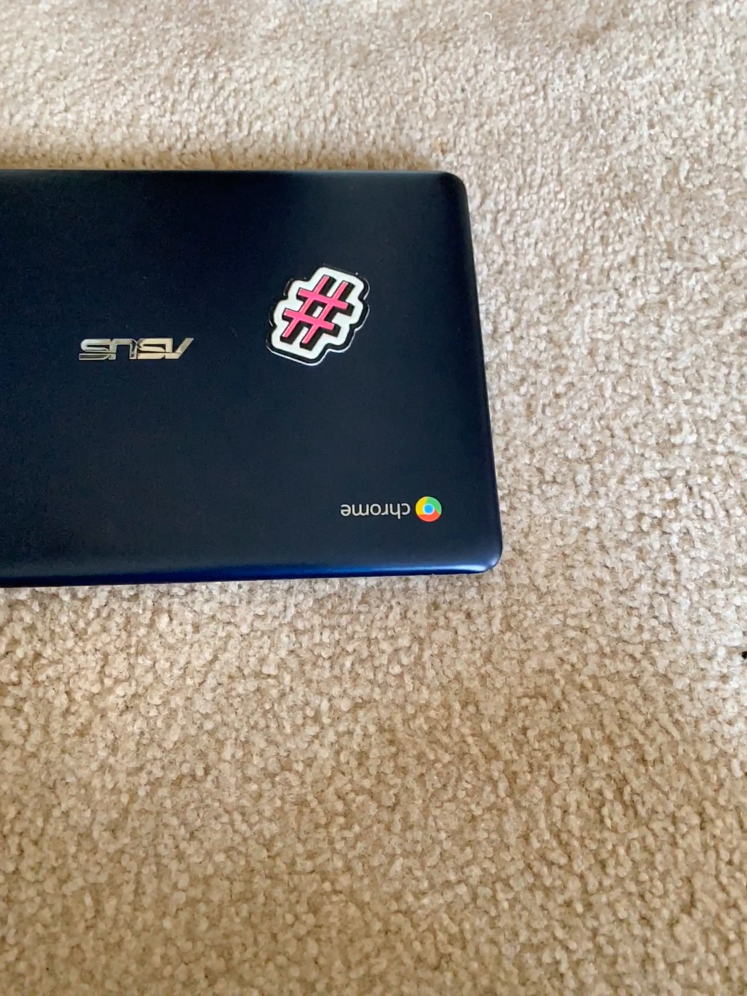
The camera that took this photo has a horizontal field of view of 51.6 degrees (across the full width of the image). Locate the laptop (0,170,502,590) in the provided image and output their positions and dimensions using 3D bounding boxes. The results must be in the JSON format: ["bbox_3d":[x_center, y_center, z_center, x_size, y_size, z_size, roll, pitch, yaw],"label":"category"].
[{"bbox_3d":[-0.092,-0.056,0.314,0.271,0.006,0.182,-1,71,-4],"label":"laptop"}]
